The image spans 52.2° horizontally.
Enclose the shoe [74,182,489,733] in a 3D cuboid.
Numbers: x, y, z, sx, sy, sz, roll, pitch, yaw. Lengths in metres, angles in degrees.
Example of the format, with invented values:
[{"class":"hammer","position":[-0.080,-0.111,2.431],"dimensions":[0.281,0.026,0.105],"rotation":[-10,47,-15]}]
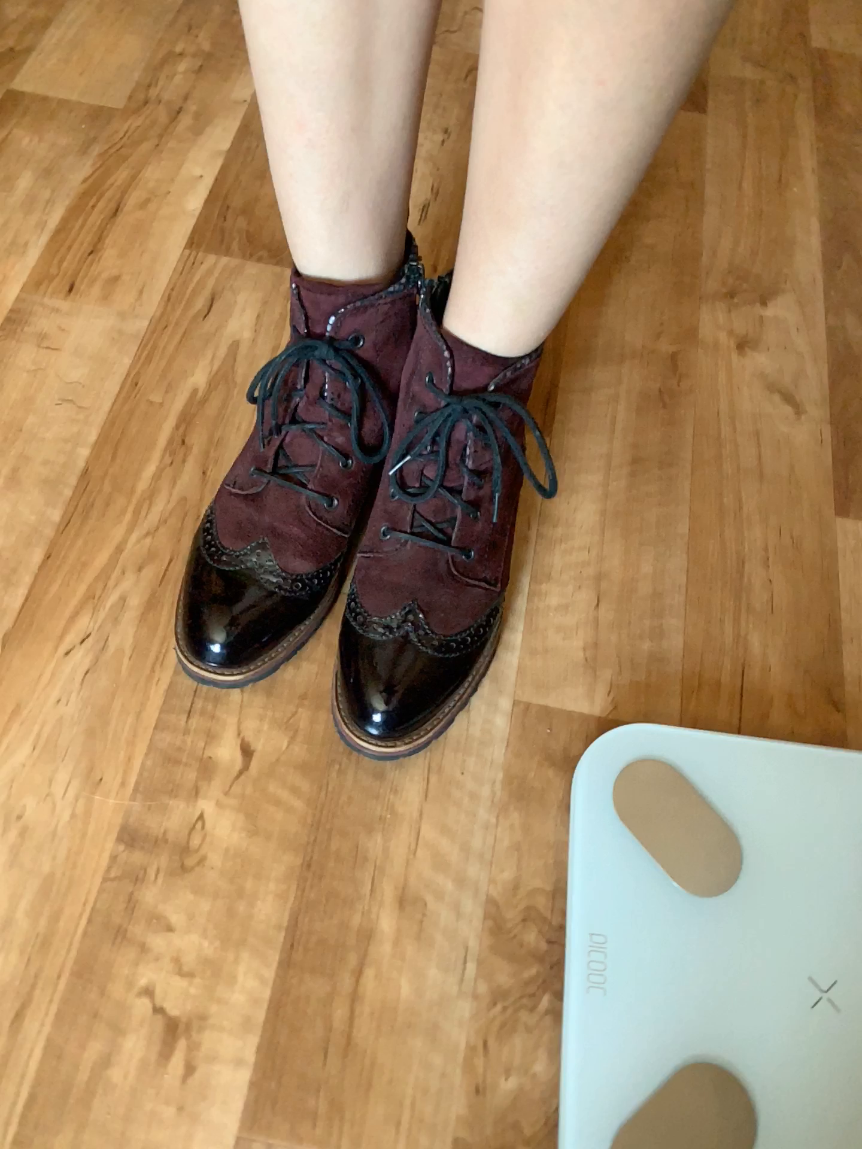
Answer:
[{"class":"shoe","position":[-0.066,-0.068,0.495],"dimensions":[0.100,0.140,0.260],"rotation":[21,62,5]}]

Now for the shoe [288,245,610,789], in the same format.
[{"class":"shoe","position":[0.014,-0.034,0.502],"dimensions":[0.100,0.140,0.260],"rotation":[16,61,3]}]
